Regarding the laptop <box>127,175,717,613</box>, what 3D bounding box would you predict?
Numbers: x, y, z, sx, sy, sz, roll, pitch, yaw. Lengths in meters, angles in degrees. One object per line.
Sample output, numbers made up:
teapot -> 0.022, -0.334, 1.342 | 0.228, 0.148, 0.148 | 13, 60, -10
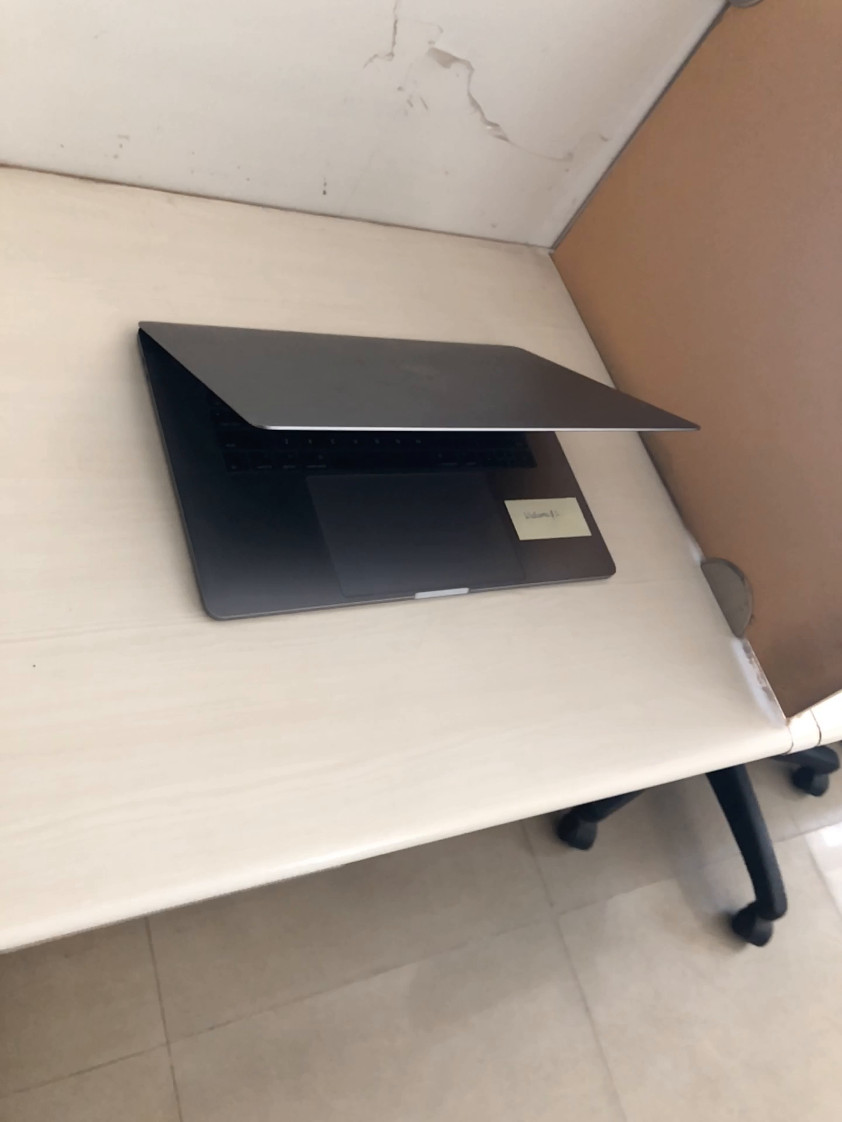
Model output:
laptop -> -0.003, -0.112, 0.646 | 0.330, 0.134, 0.233 | -4, 60, -32
